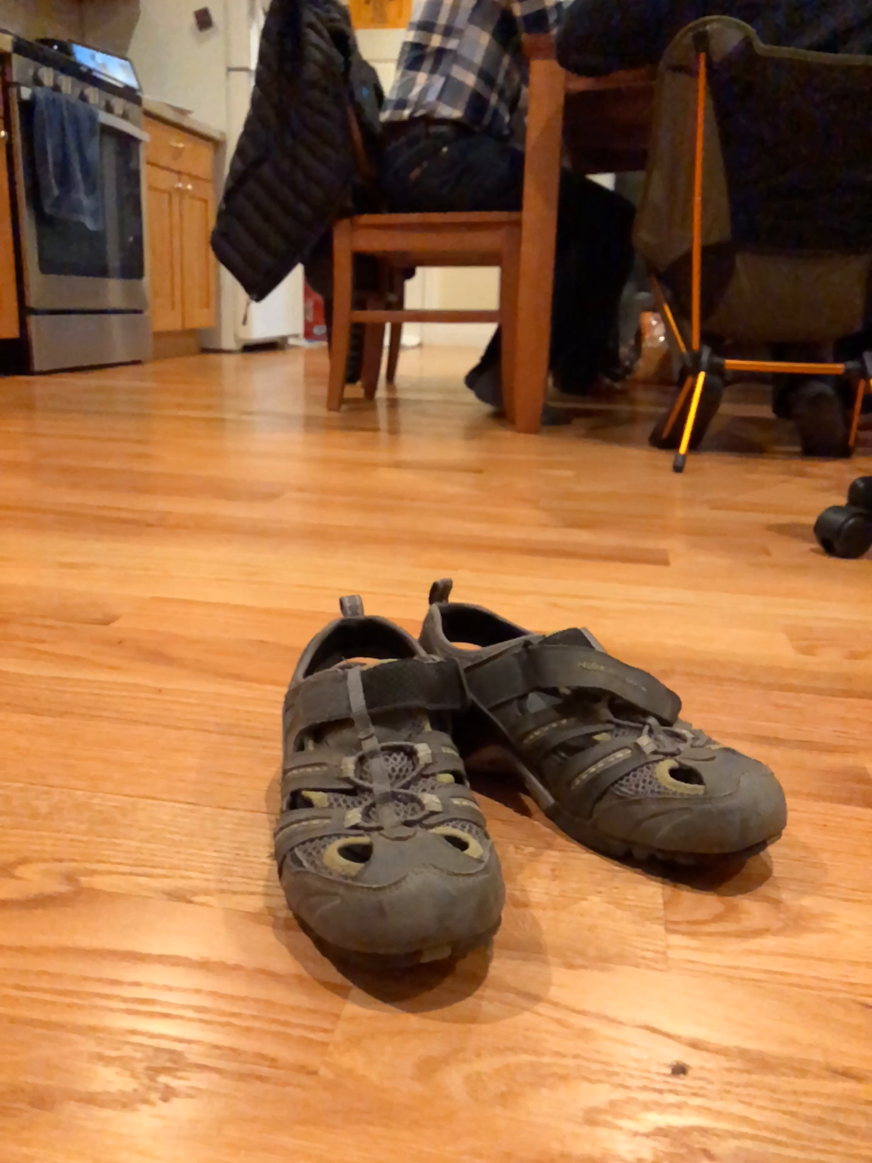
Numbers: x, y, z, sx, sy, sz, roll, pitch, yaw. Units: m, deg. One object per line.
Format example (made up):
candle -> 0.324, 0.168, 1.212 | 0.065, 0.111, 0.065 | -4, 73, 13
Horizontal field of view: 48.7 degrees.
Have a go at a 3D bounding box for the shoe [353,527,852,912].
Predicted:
shoe -> 0.074, 0.054, 0.521 | 0.245, 0.113, 0.100 | 17, 21, 42

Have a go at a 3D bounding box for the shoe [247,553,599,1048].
shoe -> -0.026, 0.073, 0.450 | 0.100, 0.113, 0.246 | -2, 16, -15
